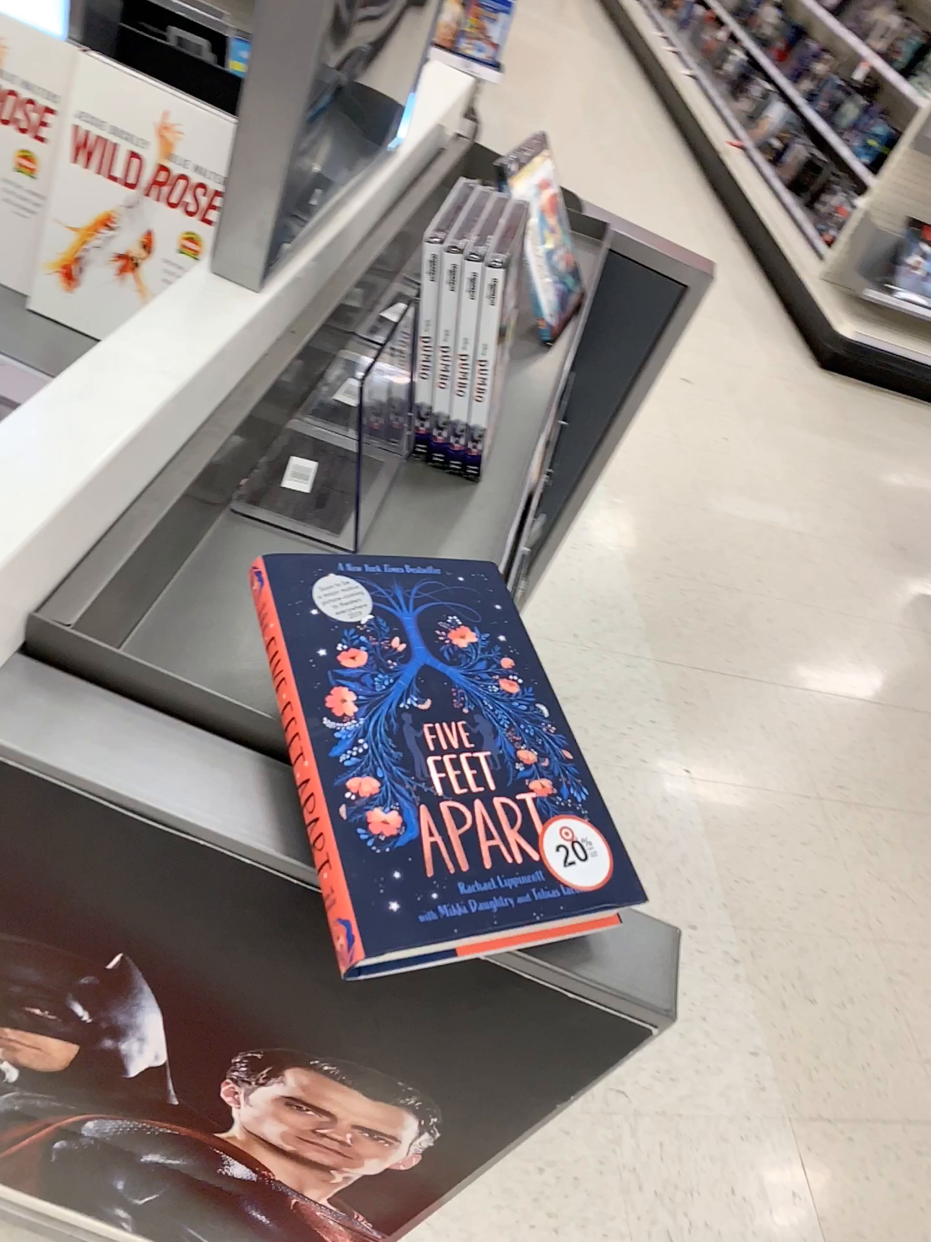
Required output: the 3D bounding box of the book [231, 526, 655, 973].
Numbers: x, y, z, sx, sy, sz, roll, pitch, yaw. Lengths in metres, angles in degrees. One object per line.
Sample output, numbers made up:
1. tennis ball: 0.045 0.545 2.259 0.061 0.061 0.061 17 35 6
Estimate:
1. book: -0.019 0.044 0.466 0.150 0.028 0.221 -2 52 -28
